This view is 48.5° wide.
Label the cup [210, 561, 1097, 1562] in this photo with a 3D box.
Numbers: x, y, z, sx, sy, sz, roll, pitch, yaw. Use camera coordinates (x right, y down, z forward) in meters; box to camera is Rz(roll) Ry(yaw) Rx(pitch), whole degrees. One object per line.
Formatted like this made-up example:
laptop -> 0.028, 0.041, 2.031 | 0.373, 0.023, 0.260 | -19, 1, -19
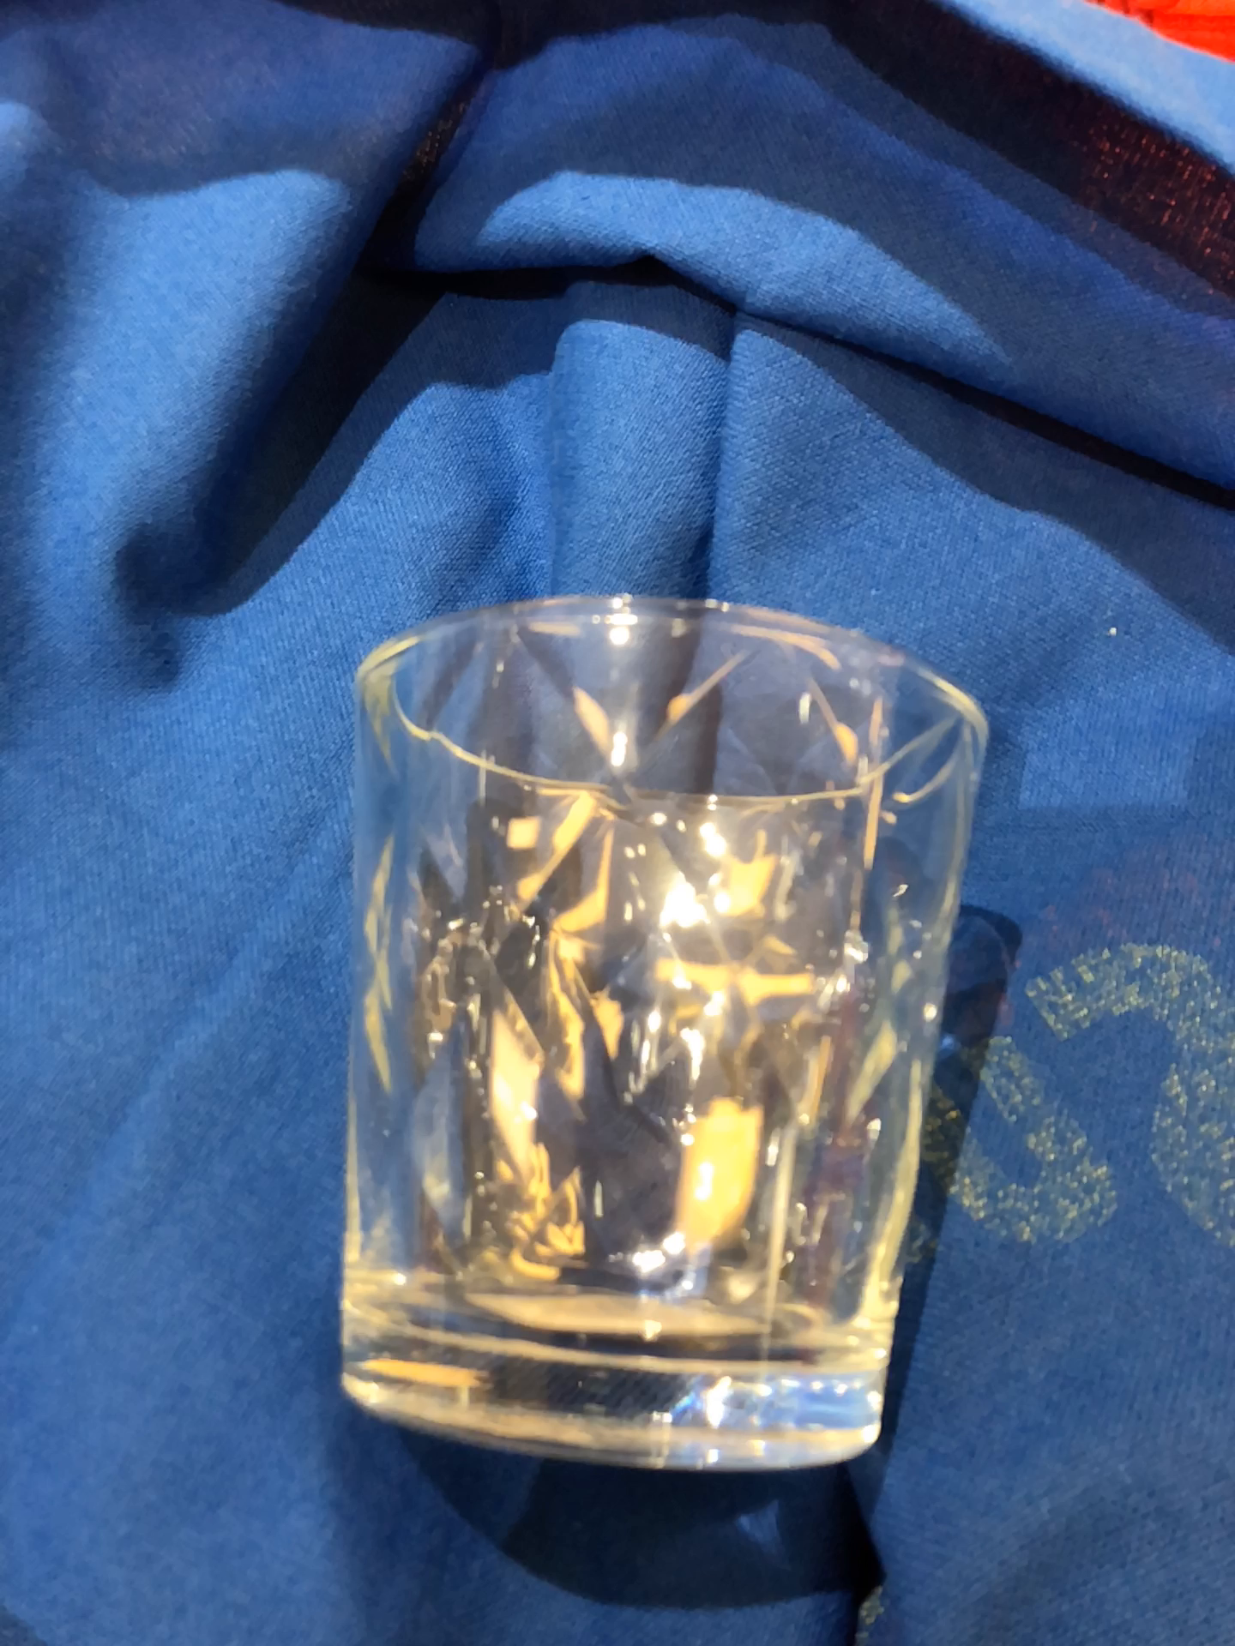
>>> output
cup -> 0.006, 0.027, 0.169 | 0.080, 0.070, 0.090 | 5, 79, 0
